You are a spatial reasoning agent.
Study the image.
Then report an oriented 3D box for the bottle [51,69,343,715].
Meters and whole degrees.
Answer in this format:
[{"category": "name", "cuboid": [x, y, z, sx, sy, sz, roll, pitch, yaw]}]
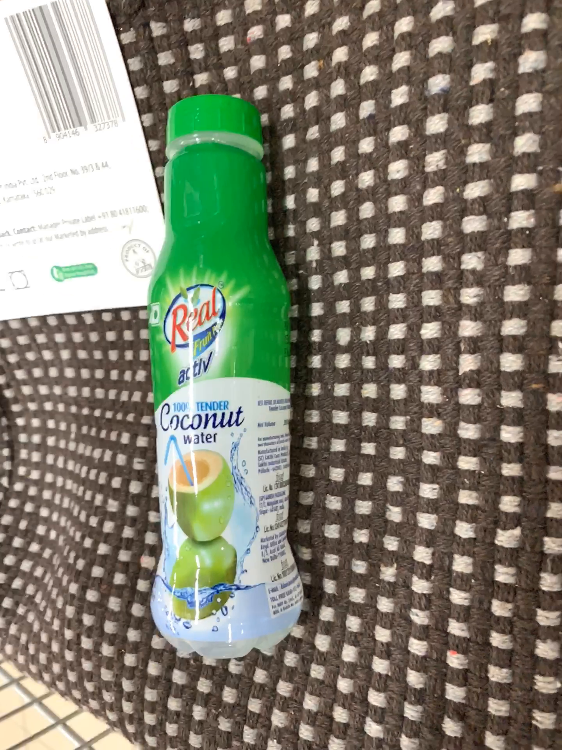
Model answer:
[{"category": "bottle", "cuboid": [-0.022, 0.009, 0.182, 0.060, 0.040, 0.170, -2, 98, 24]}]
